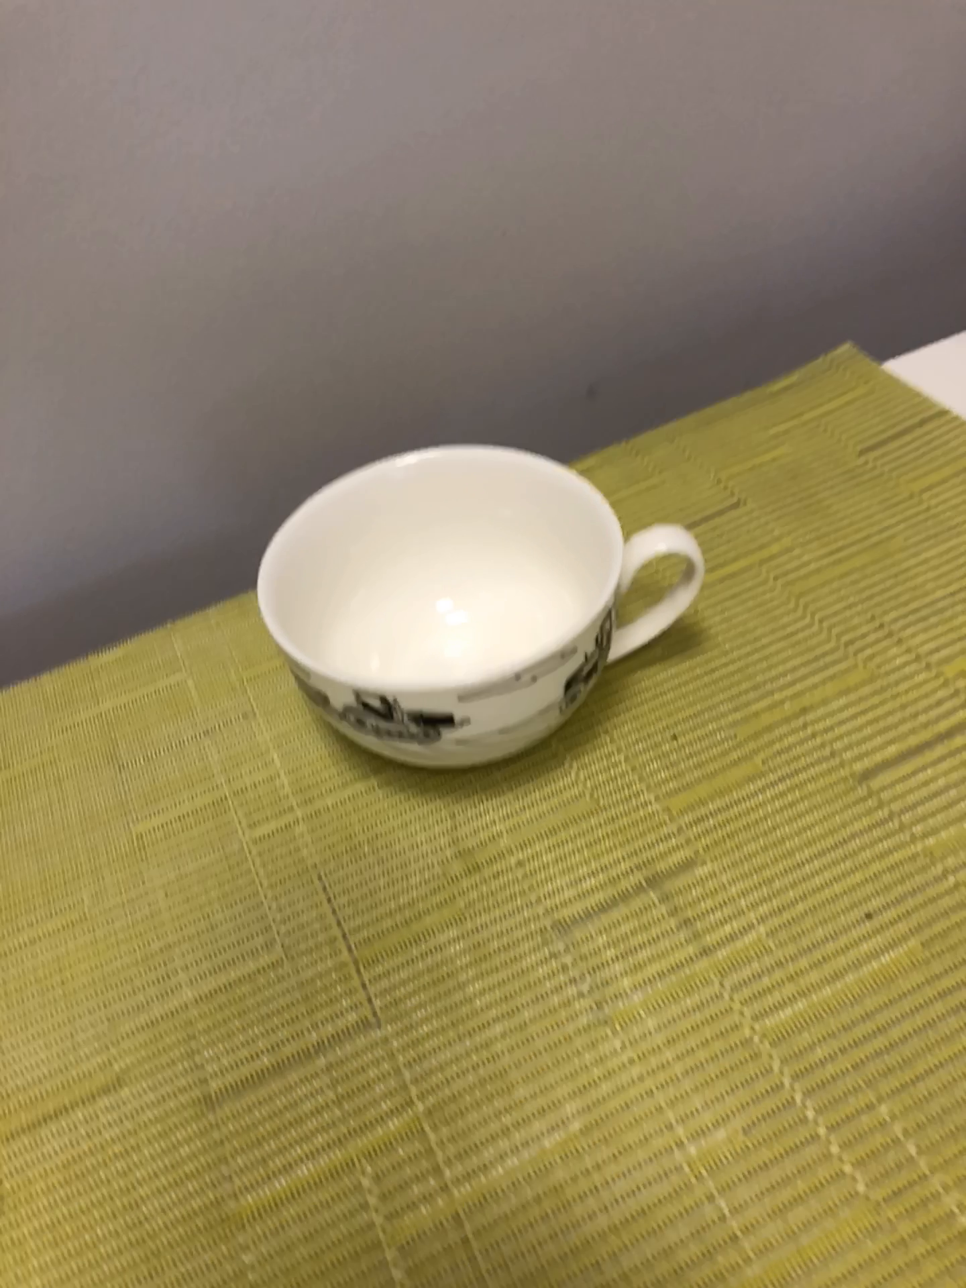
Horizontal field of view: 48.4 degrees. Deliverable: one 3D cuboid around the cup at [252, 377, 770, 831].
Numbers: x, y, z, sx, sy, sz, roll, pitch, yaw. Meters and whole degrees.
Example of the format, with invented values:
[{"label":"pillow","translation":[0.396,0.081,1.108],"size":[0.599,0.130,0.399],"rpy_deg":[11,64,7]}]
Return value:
[{"label":"cup","translation":[0.003,-0.014,0.285],"size":[0.113,0.051,0.089],"rpy_deg":[-13,44,-3]}]
